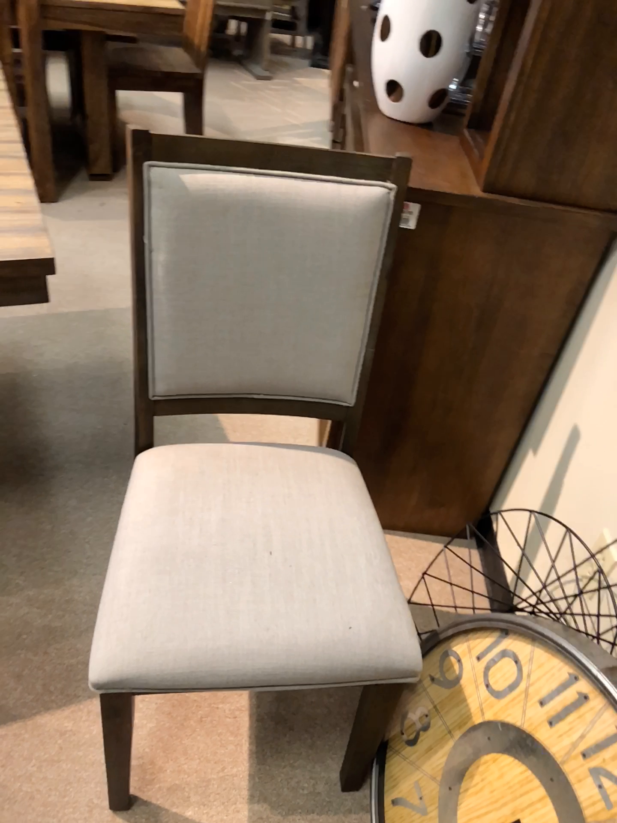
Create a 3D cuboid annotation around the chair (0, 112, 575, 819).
[{"bbox_3d":[-0.096,0.137,1.004,0.460,0.924,0.493,2,40,-11],"label":"chair"}]
